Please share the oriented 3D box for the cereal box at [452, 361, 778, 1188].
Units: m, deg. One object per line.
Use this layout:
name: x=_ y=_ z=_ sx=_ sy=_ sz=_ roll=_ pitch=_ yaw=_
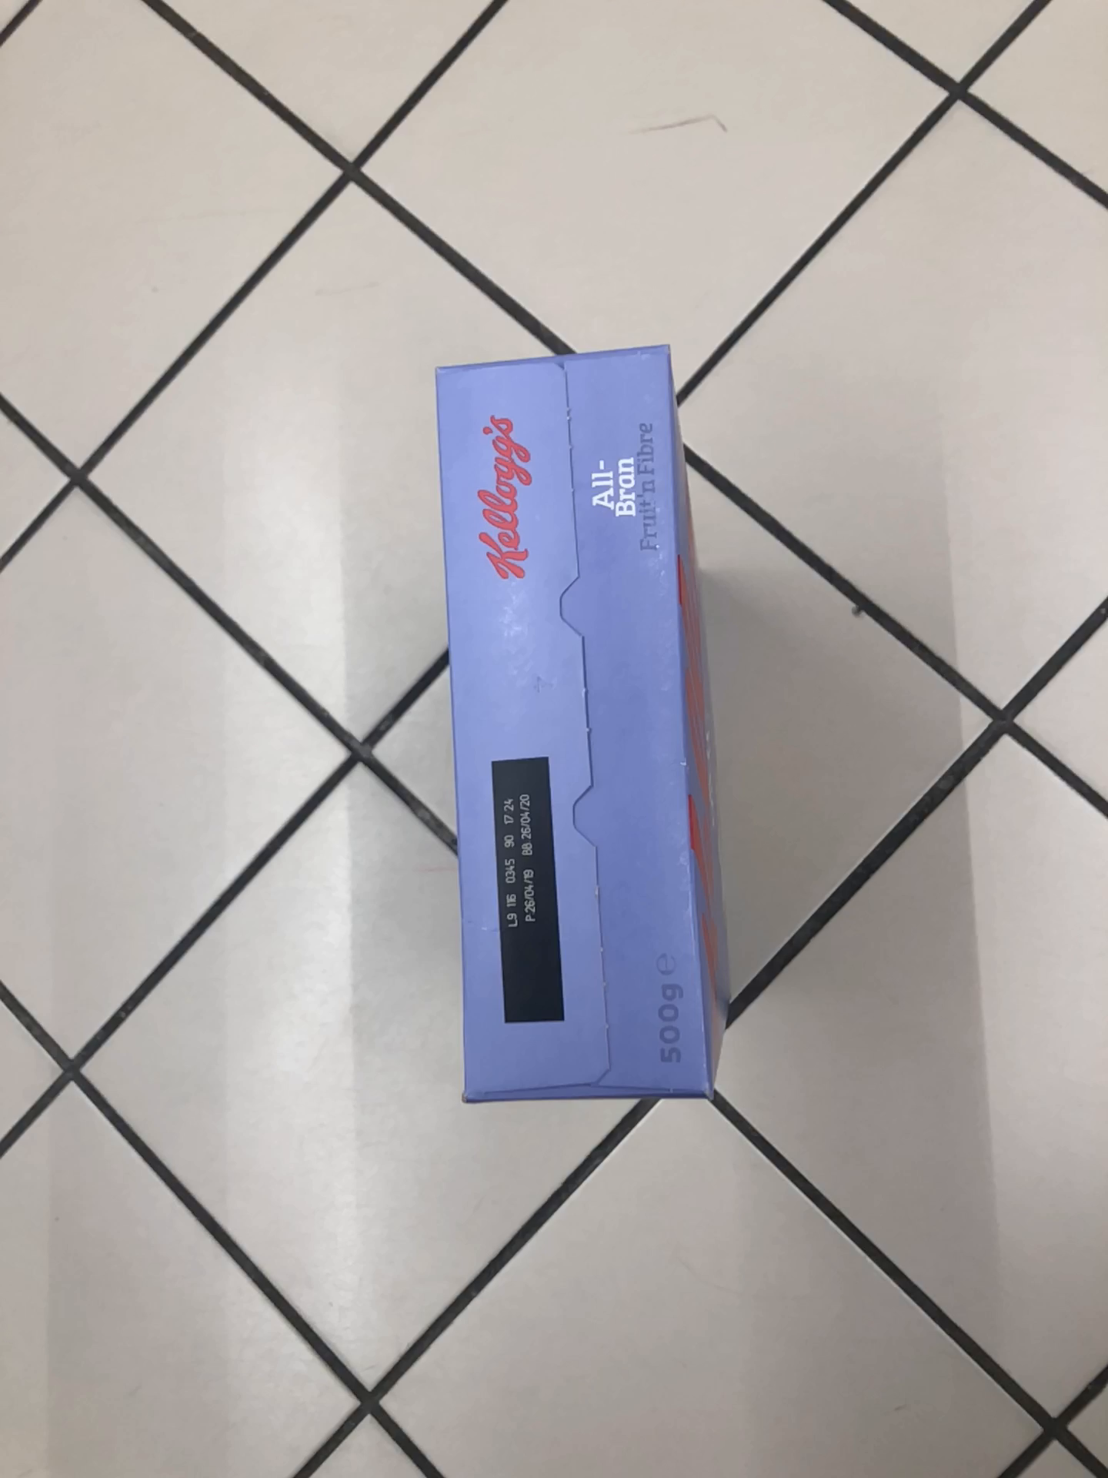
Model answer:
cereal box: x=0.032 y=0.019 z=0.419 sx=0.070 sy=0.240 sz=0.200 roll=-4 pitch=83 yaw=9
